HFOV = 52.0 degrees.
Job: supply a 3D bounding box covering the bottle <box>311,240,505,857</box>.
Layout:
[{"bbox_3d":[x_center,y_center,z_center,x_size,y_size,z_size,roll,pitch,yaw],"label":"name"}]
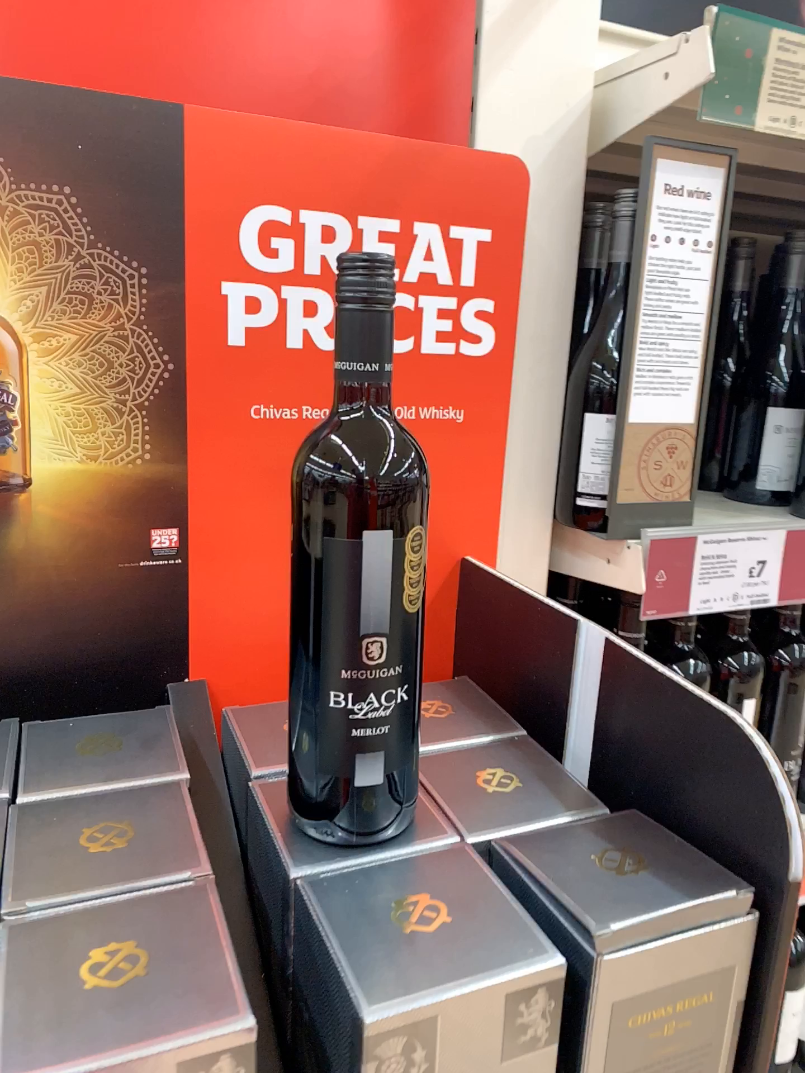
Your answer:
[{"bbox_3d":[-0.005,0.008,0.418,0.070,0.288,0.080,1,13,-9],"label":"bottle"}]
